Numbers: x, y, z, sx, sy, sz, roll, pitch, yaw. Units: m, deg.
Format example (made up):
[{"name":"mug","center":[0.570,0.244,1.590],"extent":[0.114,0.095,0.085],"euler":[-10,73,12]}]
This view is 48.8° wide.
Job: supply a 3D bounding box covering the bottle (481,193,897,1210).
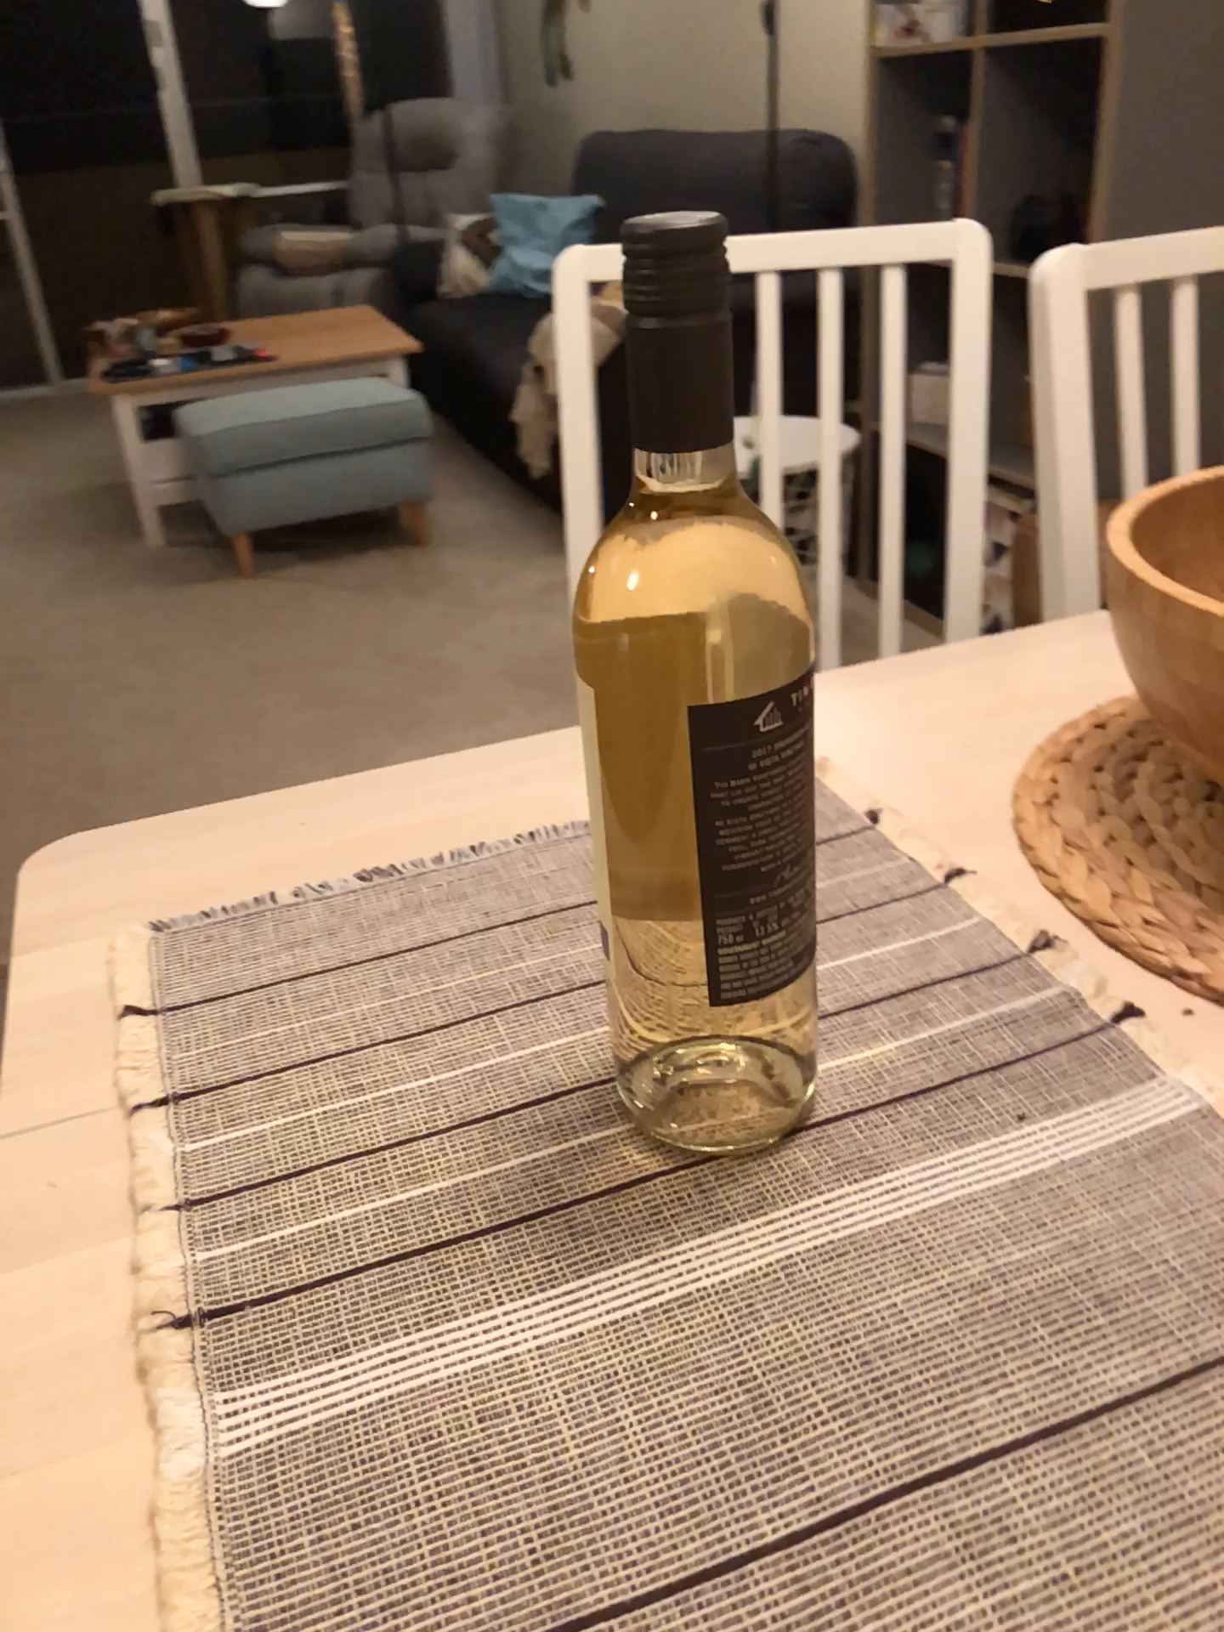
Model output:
[{"name":"bottle","center":[0.032,-0.028,0.425],"extent":[0.080,0.298,0.080],"euler":[-3,28,2]}]
